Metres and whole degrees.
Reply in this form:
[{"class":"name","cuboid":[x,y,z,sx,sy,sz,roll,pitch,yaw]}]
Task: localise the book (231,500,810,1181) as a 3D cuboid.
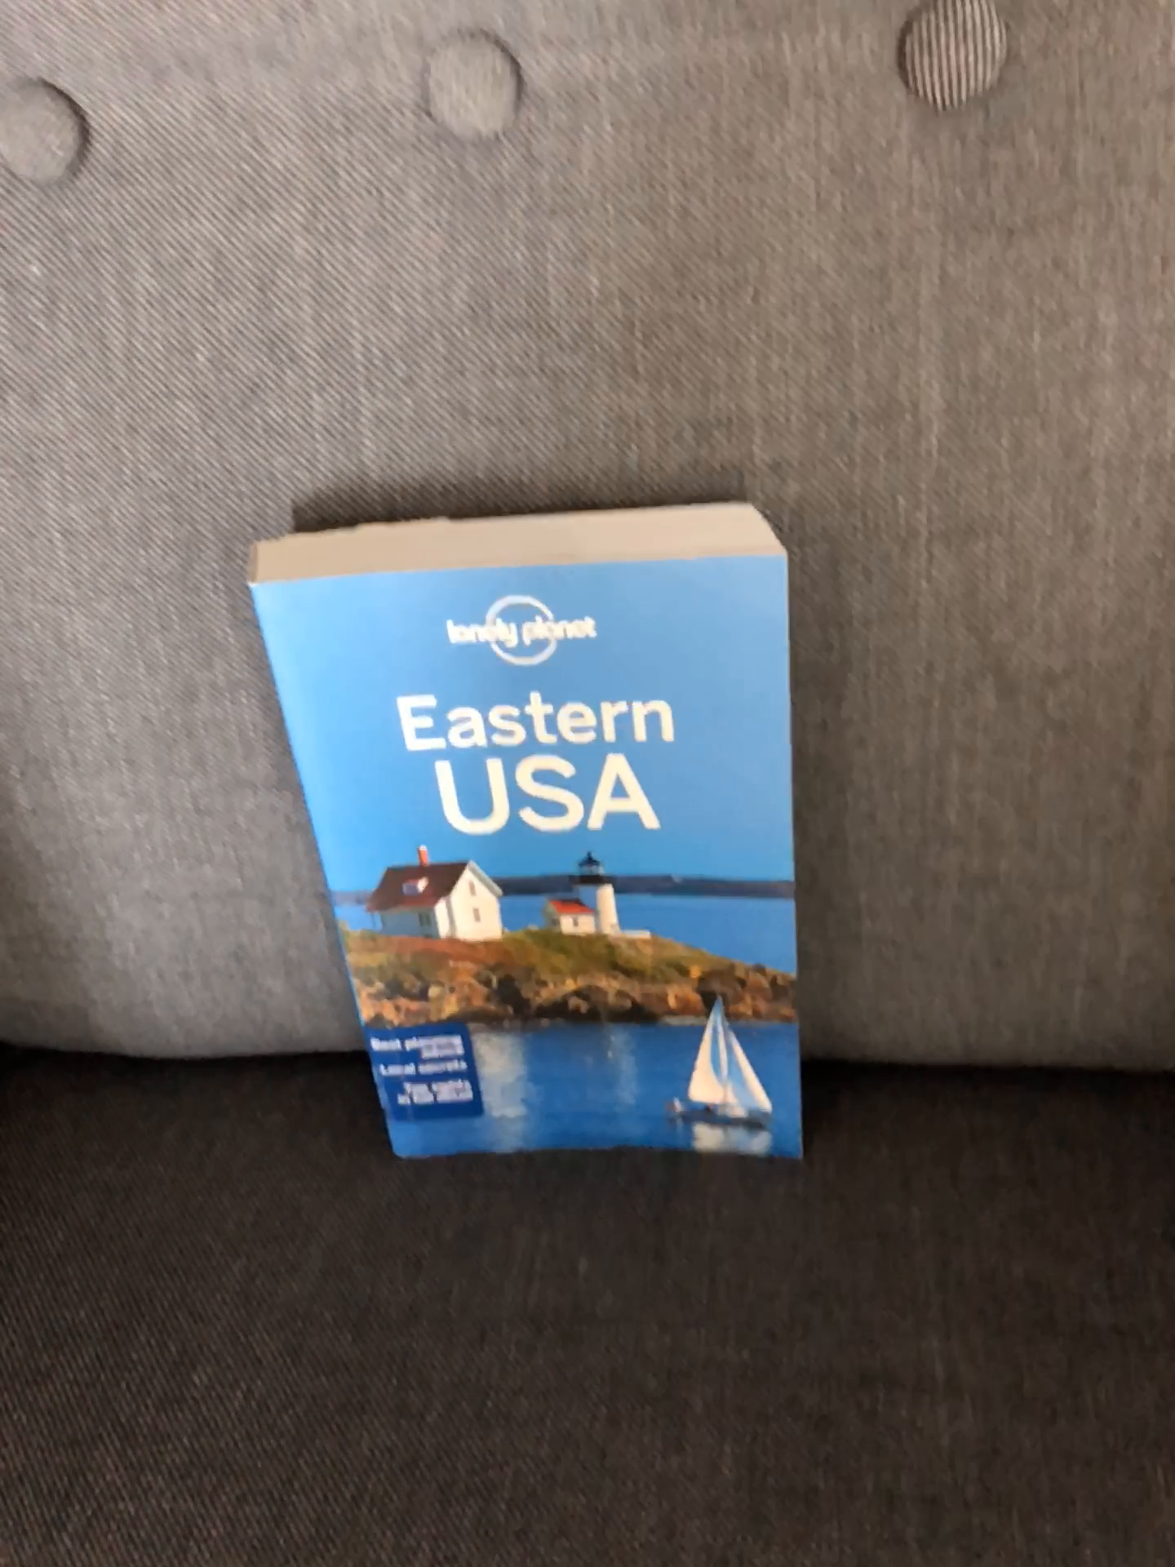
[{"class":"book","cuboid":[-0.007,0.026,0.372,0.134,0.199,0.039,-1,32,10]}]
